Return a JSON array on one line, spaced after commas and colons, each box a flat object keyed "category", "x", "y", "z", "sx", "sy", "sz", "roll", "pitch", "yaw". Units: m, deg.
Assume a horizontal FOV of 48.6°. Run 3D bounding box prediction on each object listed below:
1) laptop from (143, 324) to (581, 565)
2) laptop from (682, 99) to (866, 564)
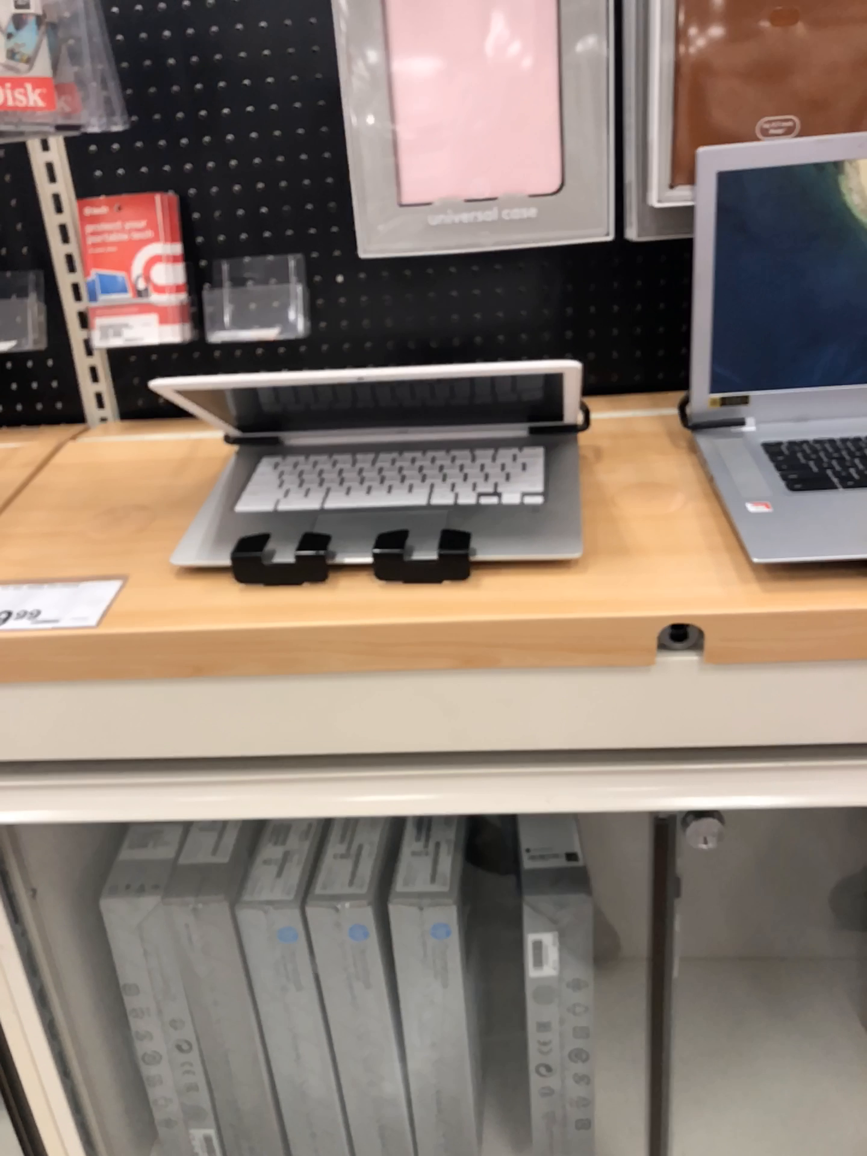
[{"category": "laptop", "x": -0.044, "y": -0.120, "z": 0.821, "sx": 0.330, "sy": 0.100, "sz": 0.216, "roll": -1, "pitch": 32, "yaw": 8}, {"category": "laptop", "x": 0.419, "y": -0.202, "z": 0.736, "sx": 0.388, "sy": 0.244, "sz": 0.274, "roll": -3, "pitch": 27, "yaw": 4}]
